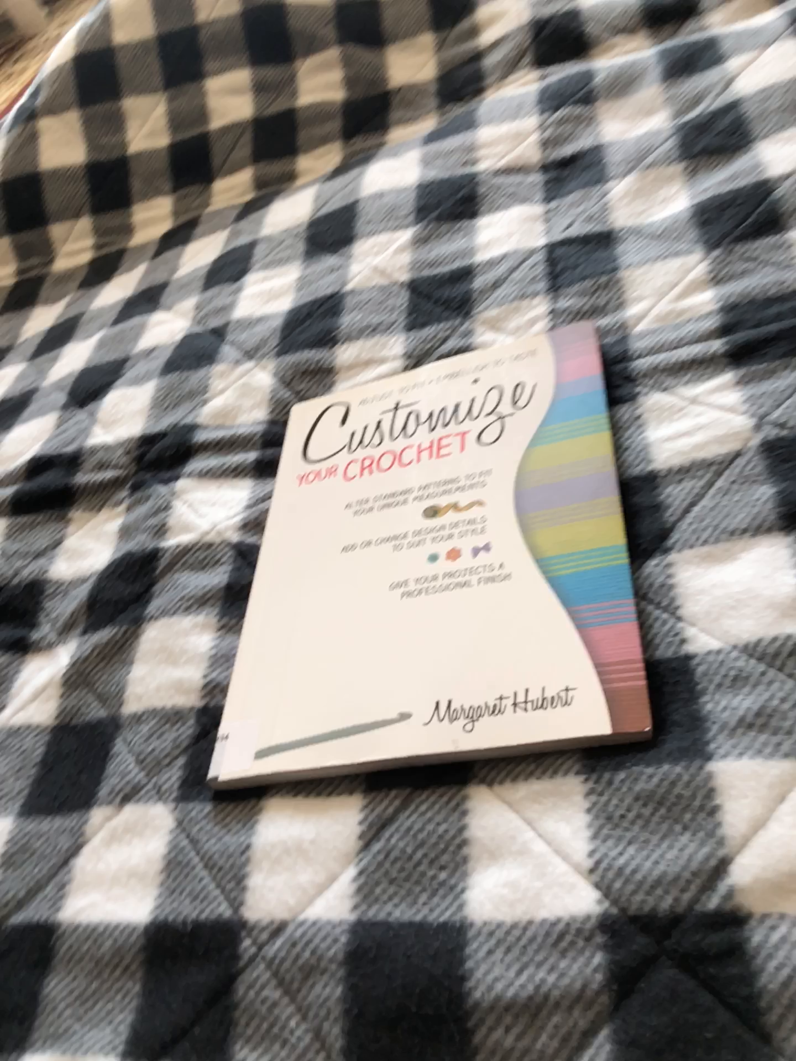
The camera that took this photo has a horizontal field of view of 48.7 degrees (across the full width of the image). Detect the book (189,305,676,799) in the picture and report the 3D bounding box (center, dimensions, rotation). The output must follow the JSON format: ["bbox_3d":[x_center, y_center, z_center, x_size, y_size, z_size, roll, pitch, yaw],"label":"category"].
[{"bbox_3d":[0.015,-0.002,0.407,0.186,0.020,0.238,-12,46,19],"label":"book"}]
